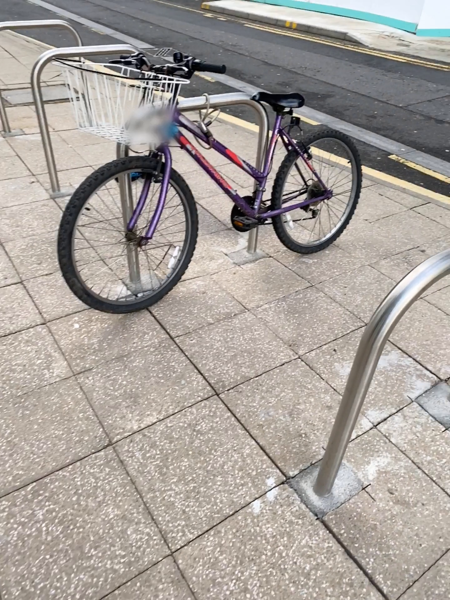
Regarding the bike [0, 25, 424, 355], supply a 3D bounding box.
[{"bbox_3d":[0.027,-0.624,2.110,1.736,1.042,0.583,-23,45,-31],"label":"bike"}]
